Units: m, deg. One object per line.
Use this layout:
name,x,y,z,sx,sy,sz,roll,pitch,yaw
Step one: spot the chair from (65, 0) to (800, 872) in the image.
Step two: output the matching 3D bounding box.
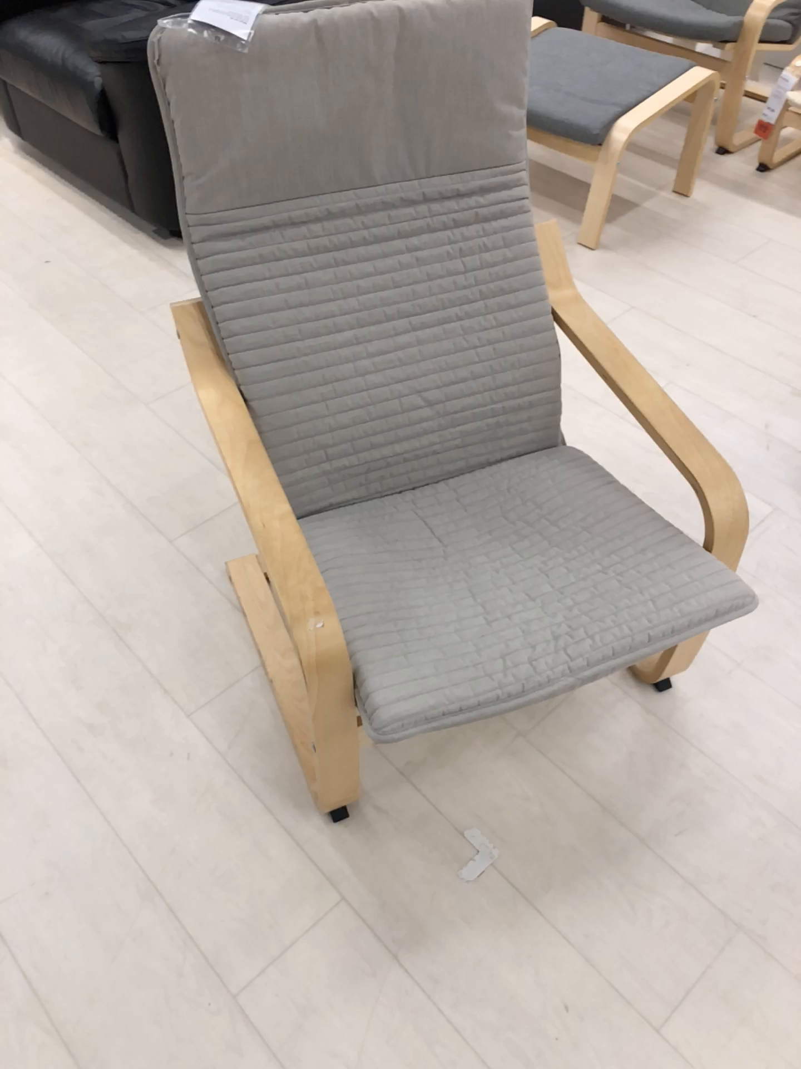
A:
chair,0.083,-0.190,1.231,0.730,0.996,0.702,-15,48,-14
